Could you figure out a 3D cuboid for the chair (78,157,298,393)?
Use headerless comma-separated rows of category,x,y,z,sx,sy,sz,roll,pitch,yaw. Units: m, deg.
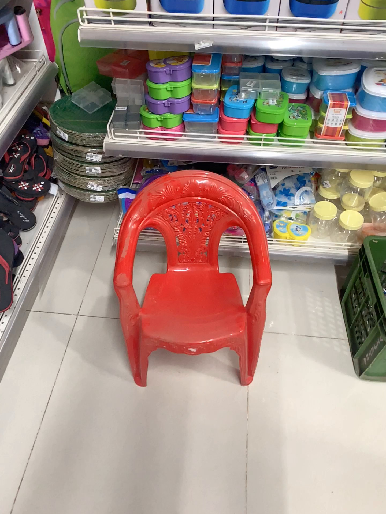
chair,-0.003,0.066,1.053,0.410,0.498,0.411,0,51,1
